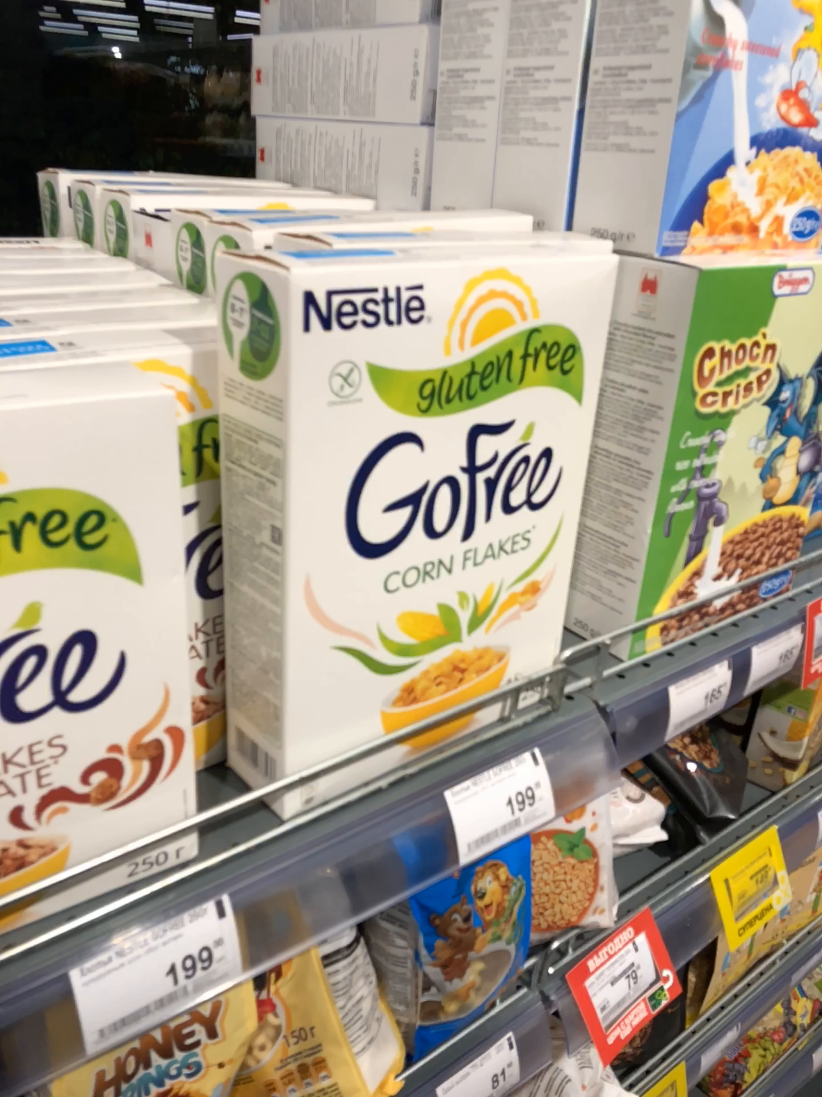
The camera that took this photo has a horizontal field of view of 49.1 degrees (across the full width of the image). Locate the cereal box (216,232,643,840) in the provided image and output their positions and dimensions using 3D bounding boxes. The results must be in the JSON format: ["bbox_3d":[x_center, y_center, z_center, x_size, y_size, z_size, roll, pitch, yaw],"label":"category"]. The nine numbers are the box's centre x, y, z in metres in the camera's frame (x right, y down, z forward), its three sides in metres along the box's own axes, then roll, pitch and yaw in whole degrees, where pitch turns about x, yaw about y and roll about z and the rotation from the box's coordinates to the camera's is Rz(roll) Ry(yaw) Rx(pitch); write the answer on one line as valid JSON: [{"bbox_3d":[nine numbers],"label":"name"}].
[{"bbox_3d":[0.009,-0.016,0.431,0.191,0.249,0.060,-17,31,-38],"label":"cereal box"}]
